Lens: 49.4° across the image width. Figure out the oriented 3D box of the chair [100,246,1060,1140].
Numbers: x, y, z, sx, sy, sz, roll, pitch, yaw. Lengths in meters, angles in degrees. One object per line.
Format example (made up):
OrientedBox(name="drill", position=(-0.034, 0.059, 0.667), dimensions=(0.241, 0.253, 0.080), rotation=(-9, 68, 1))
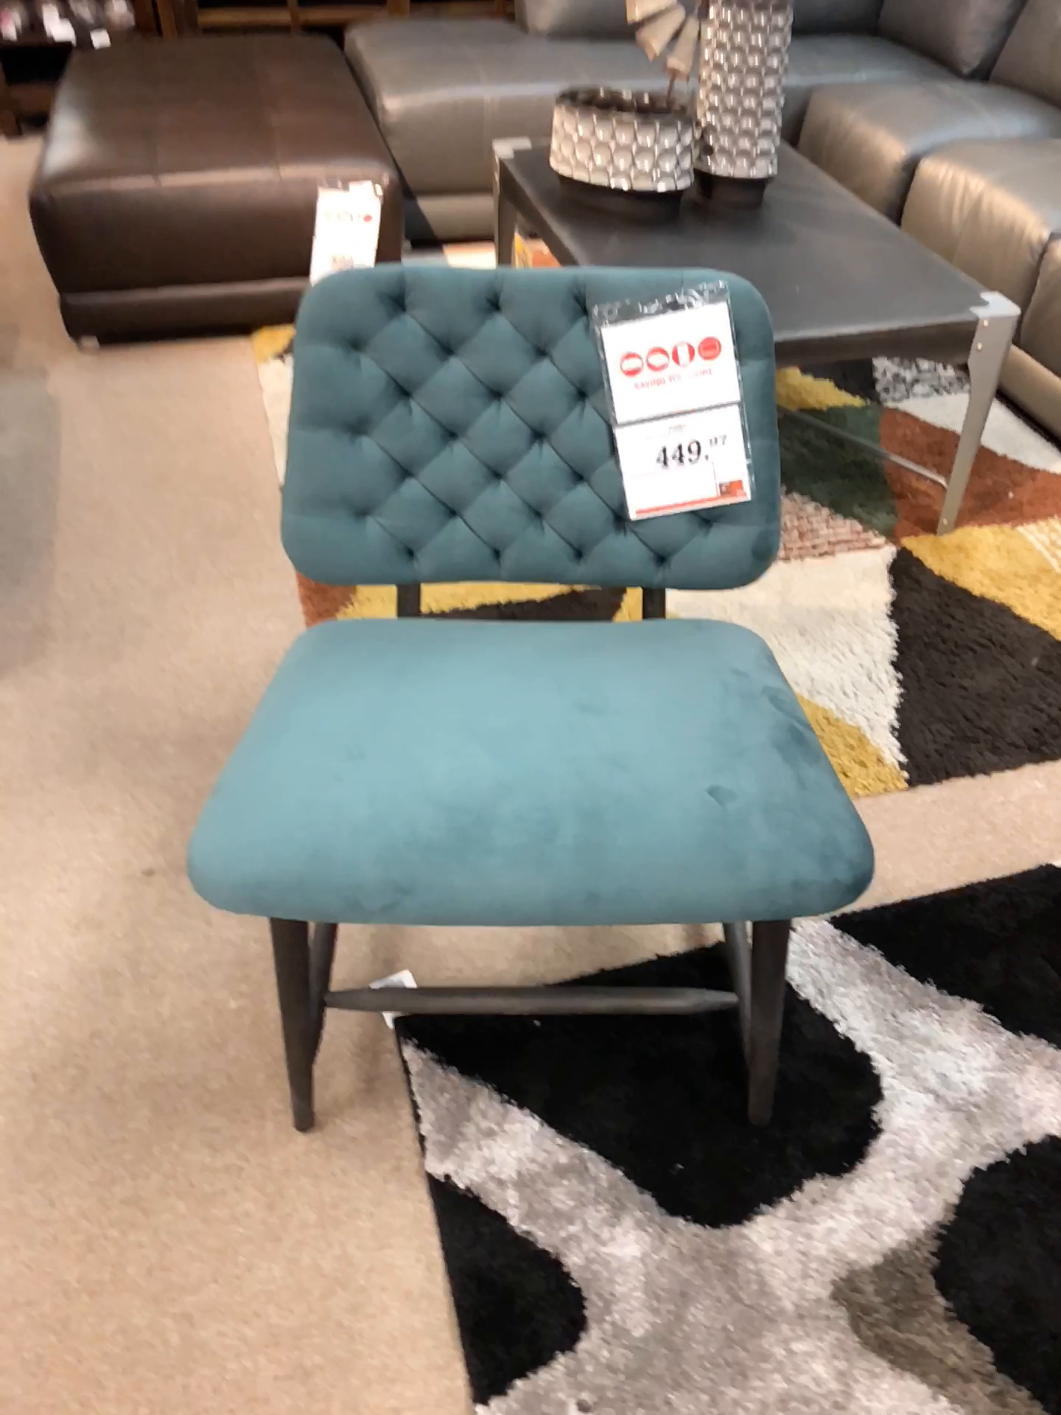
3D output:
OrientedBox(name="chair", position=(0.015, 0.010, 1.215), dimensions=(0.639, 0.765, 0.534), rotation=(1, 41, -3))
